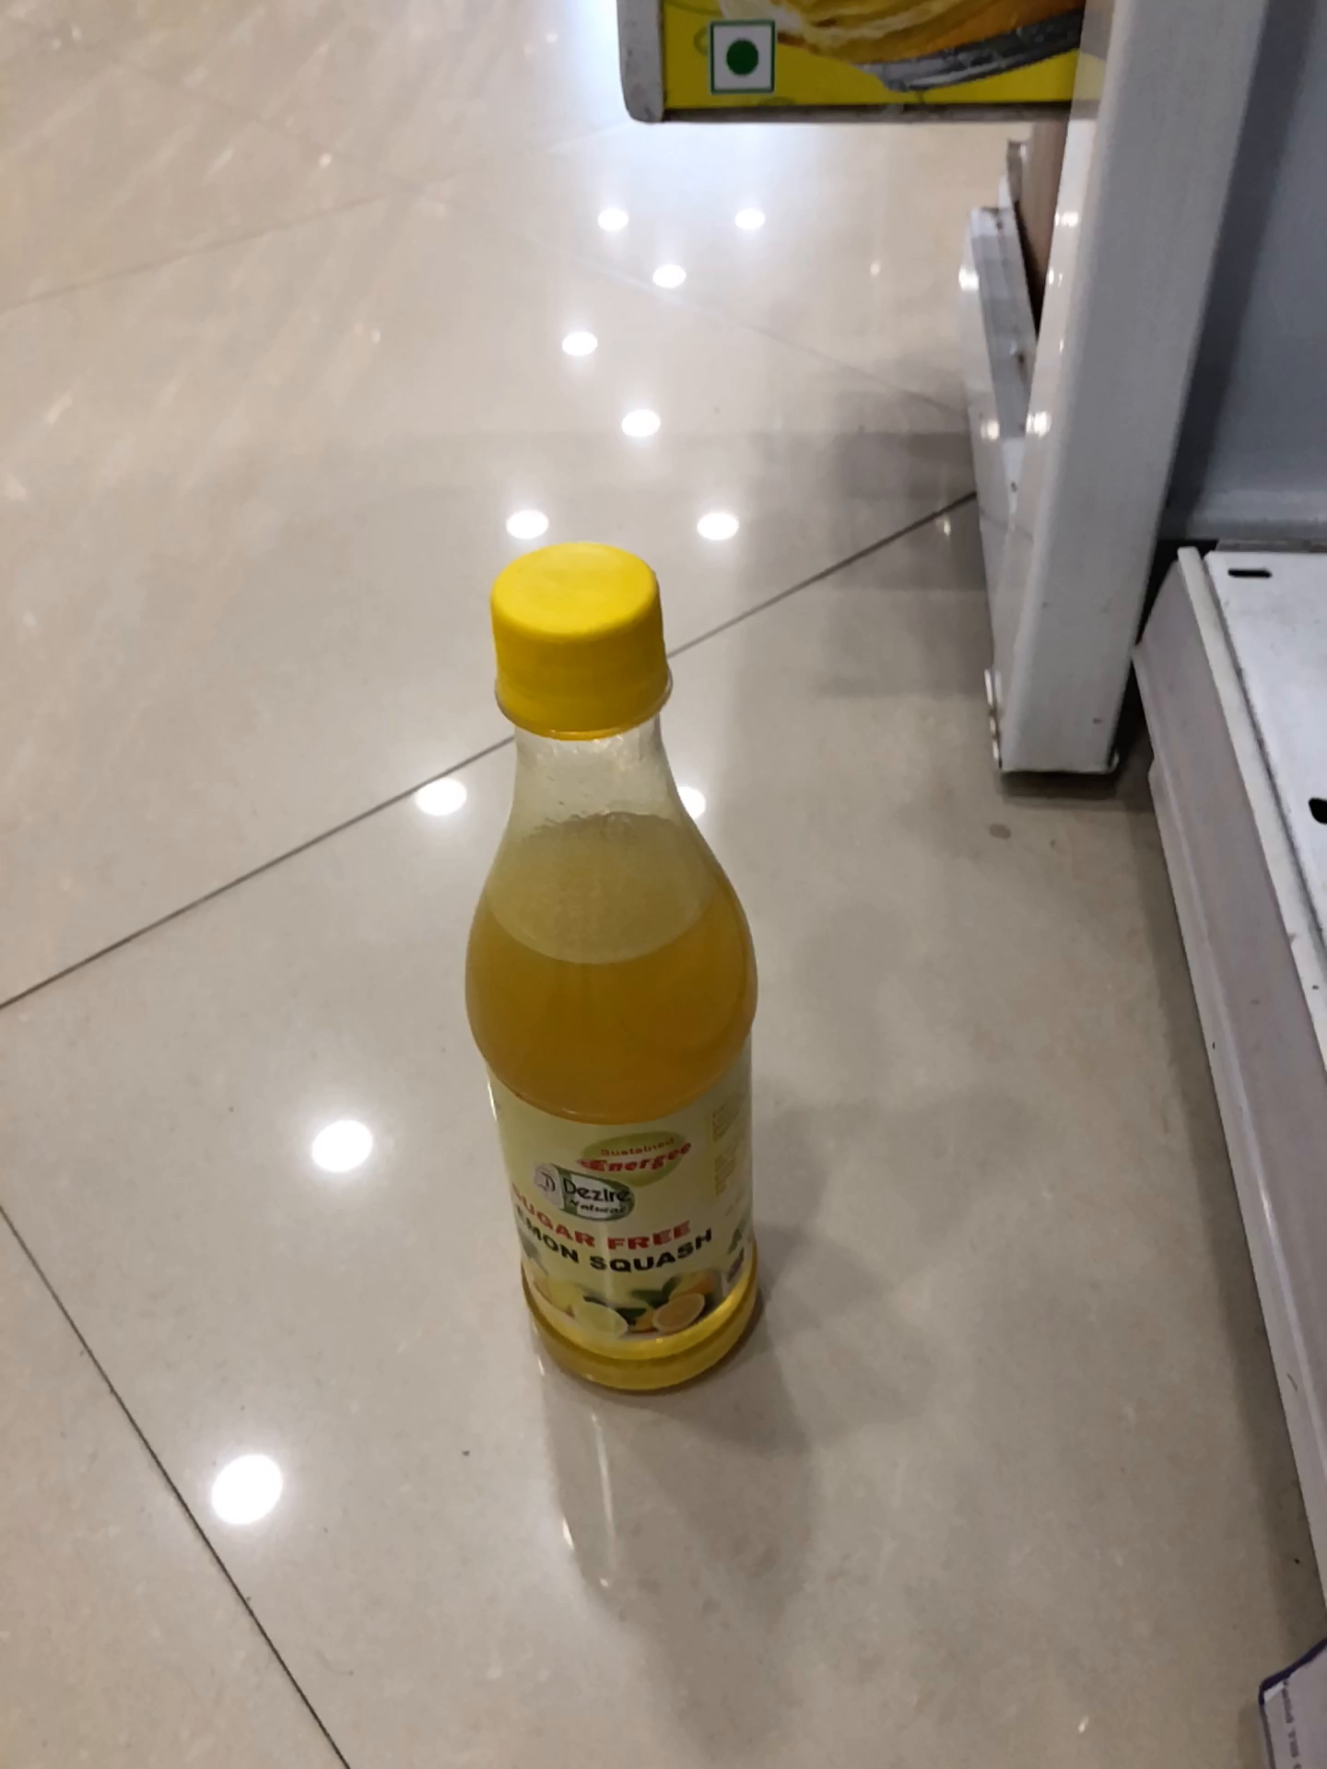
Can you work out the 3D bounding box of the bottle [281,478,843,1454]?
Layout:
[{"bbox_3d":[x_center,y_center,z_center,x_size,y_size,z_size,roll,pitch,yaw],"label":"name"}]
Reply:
[{"bbox_3d":[-0.011,0.033,0.335,0.080,0.229,0.070,9,44,13],"label":"bottle"}]
